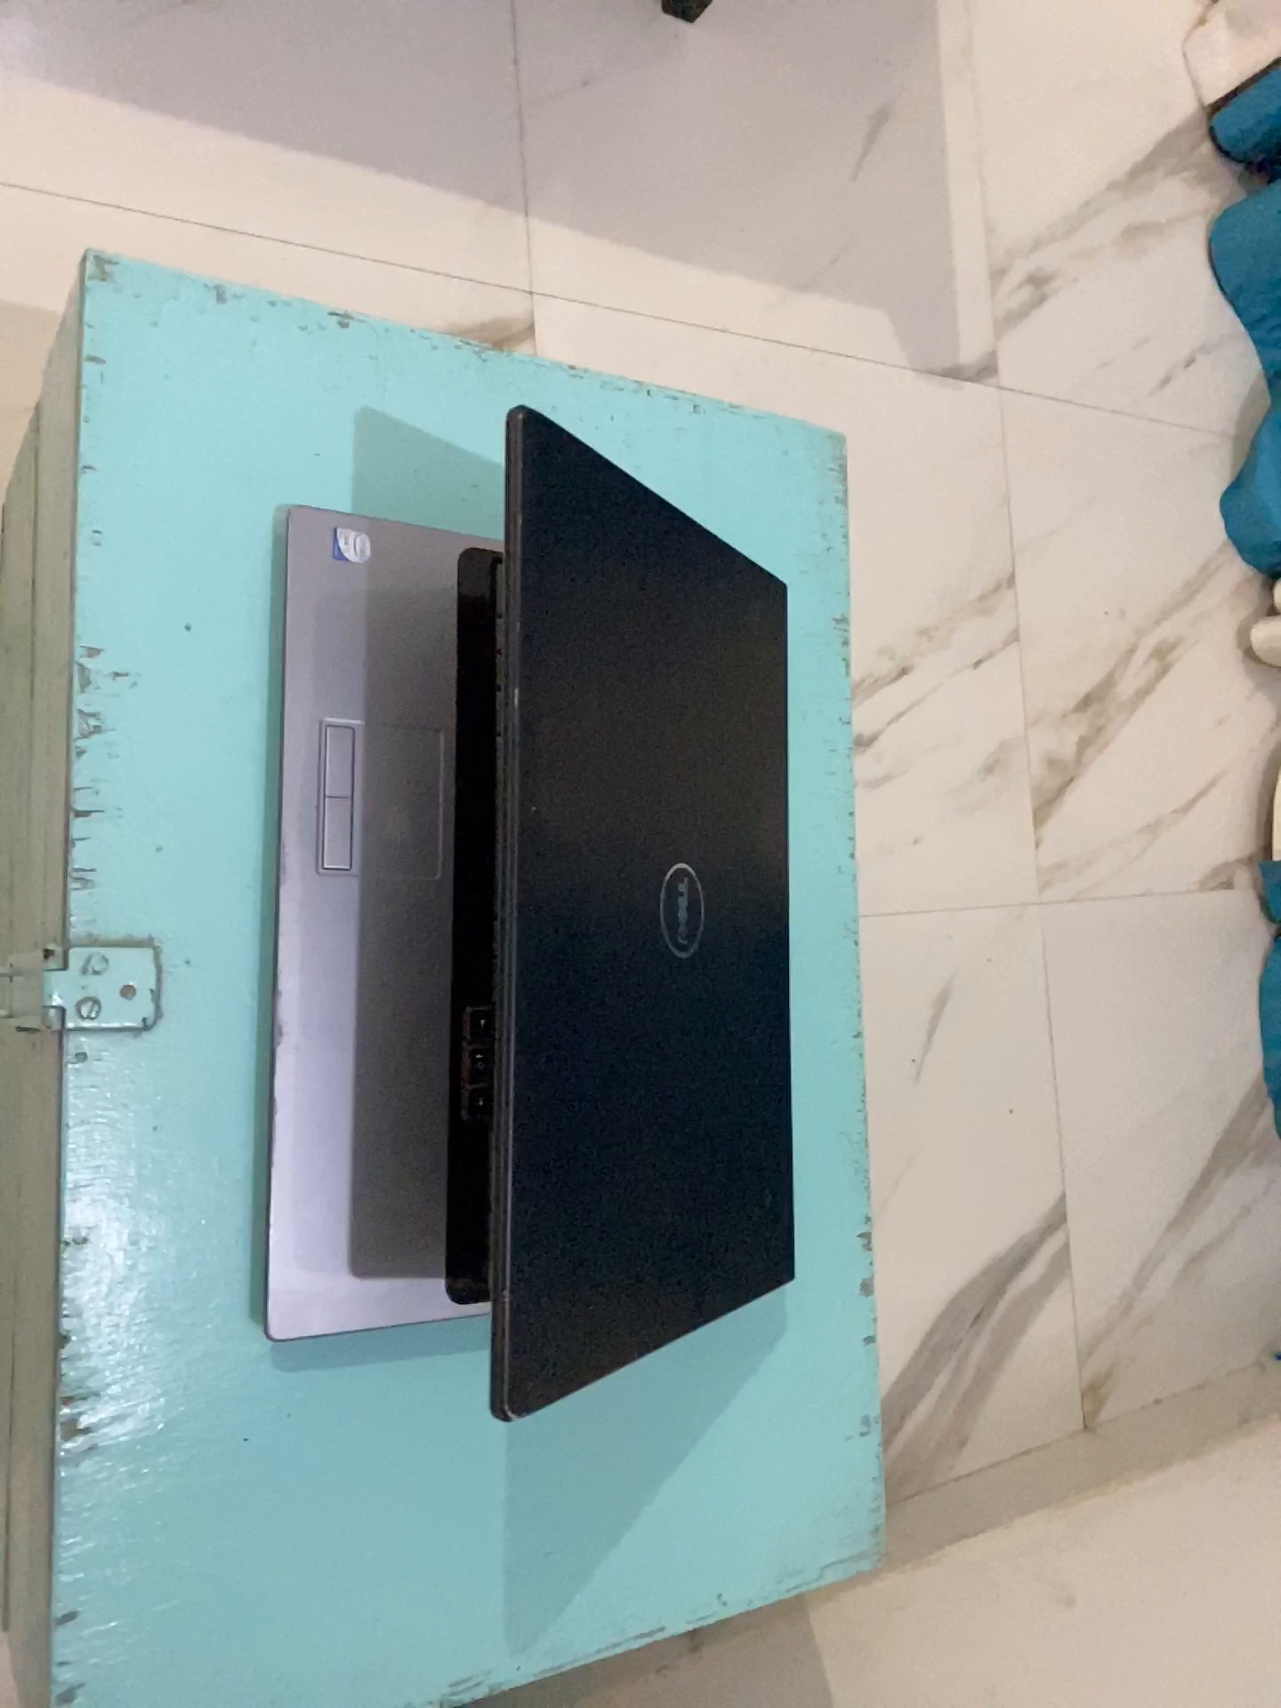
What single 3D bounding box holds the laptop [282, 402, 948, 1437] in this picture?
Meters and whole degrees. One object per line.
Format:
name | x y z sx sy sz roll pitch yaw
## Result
laptop | -0.015 0.029 0.615 0.262 0.152 0.387 2 84 -29
